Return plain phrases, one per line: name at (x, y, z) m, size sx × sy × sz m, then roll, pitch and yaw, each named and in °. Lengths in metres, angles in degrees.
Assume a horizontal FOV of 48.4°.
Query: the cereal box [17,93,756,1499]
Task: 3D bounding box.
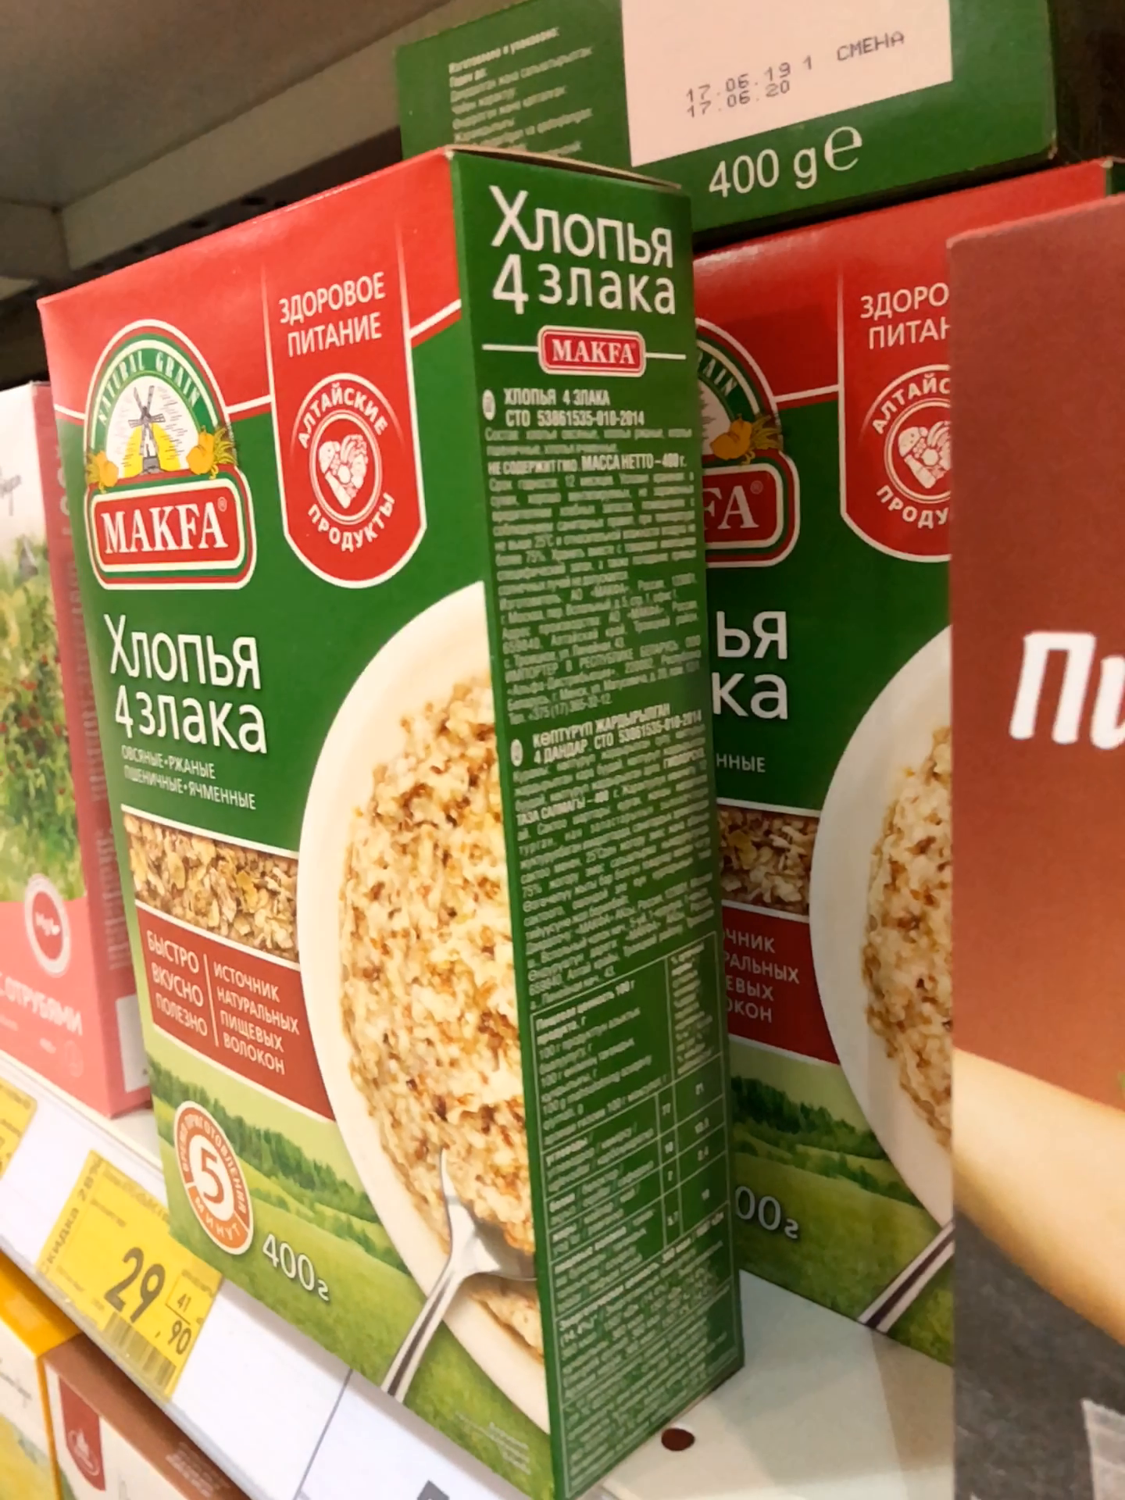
cereal box at (-0.038, 0.008, 0.245) m, size 0.140 × 0.209 × 0.050 m, roll 6°, pitch 14°, yaw 44°
